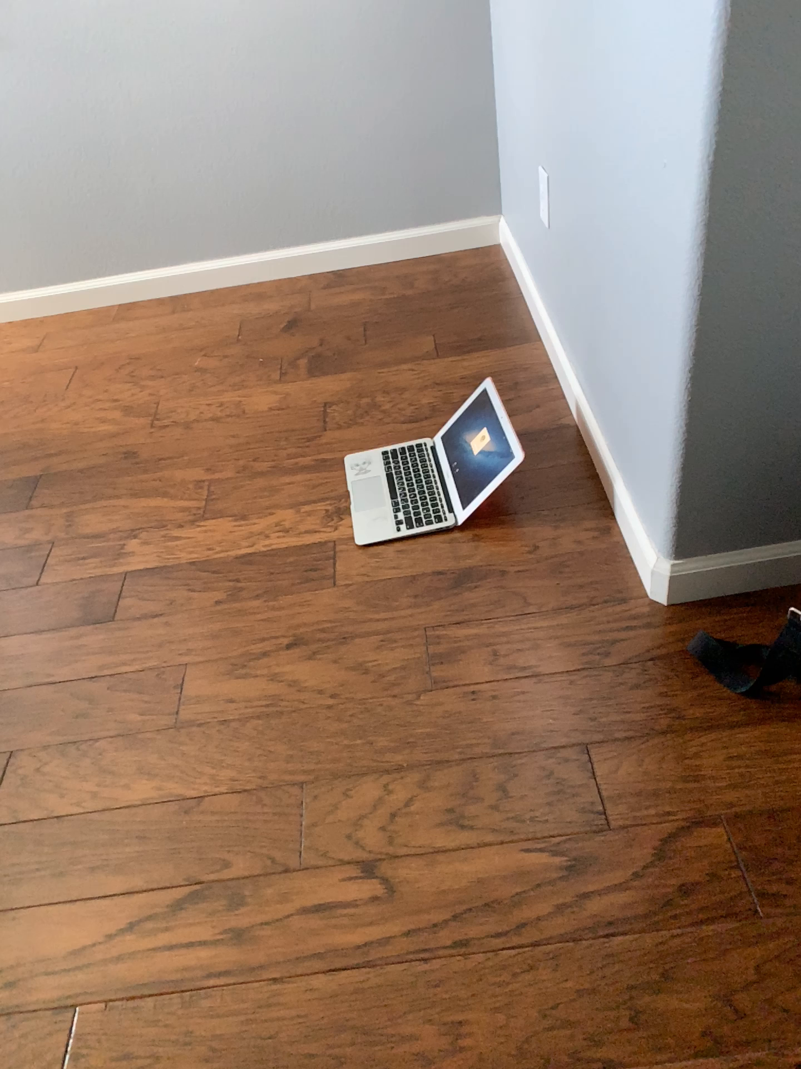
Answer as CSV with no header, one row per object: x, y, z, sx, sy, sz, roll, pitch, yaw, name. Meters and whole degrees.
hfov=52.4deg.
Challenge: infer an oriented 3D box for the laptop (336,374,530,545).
0.051,-0.149,1.535,0.322,0.117,0.295,-12,39,2,laptop
